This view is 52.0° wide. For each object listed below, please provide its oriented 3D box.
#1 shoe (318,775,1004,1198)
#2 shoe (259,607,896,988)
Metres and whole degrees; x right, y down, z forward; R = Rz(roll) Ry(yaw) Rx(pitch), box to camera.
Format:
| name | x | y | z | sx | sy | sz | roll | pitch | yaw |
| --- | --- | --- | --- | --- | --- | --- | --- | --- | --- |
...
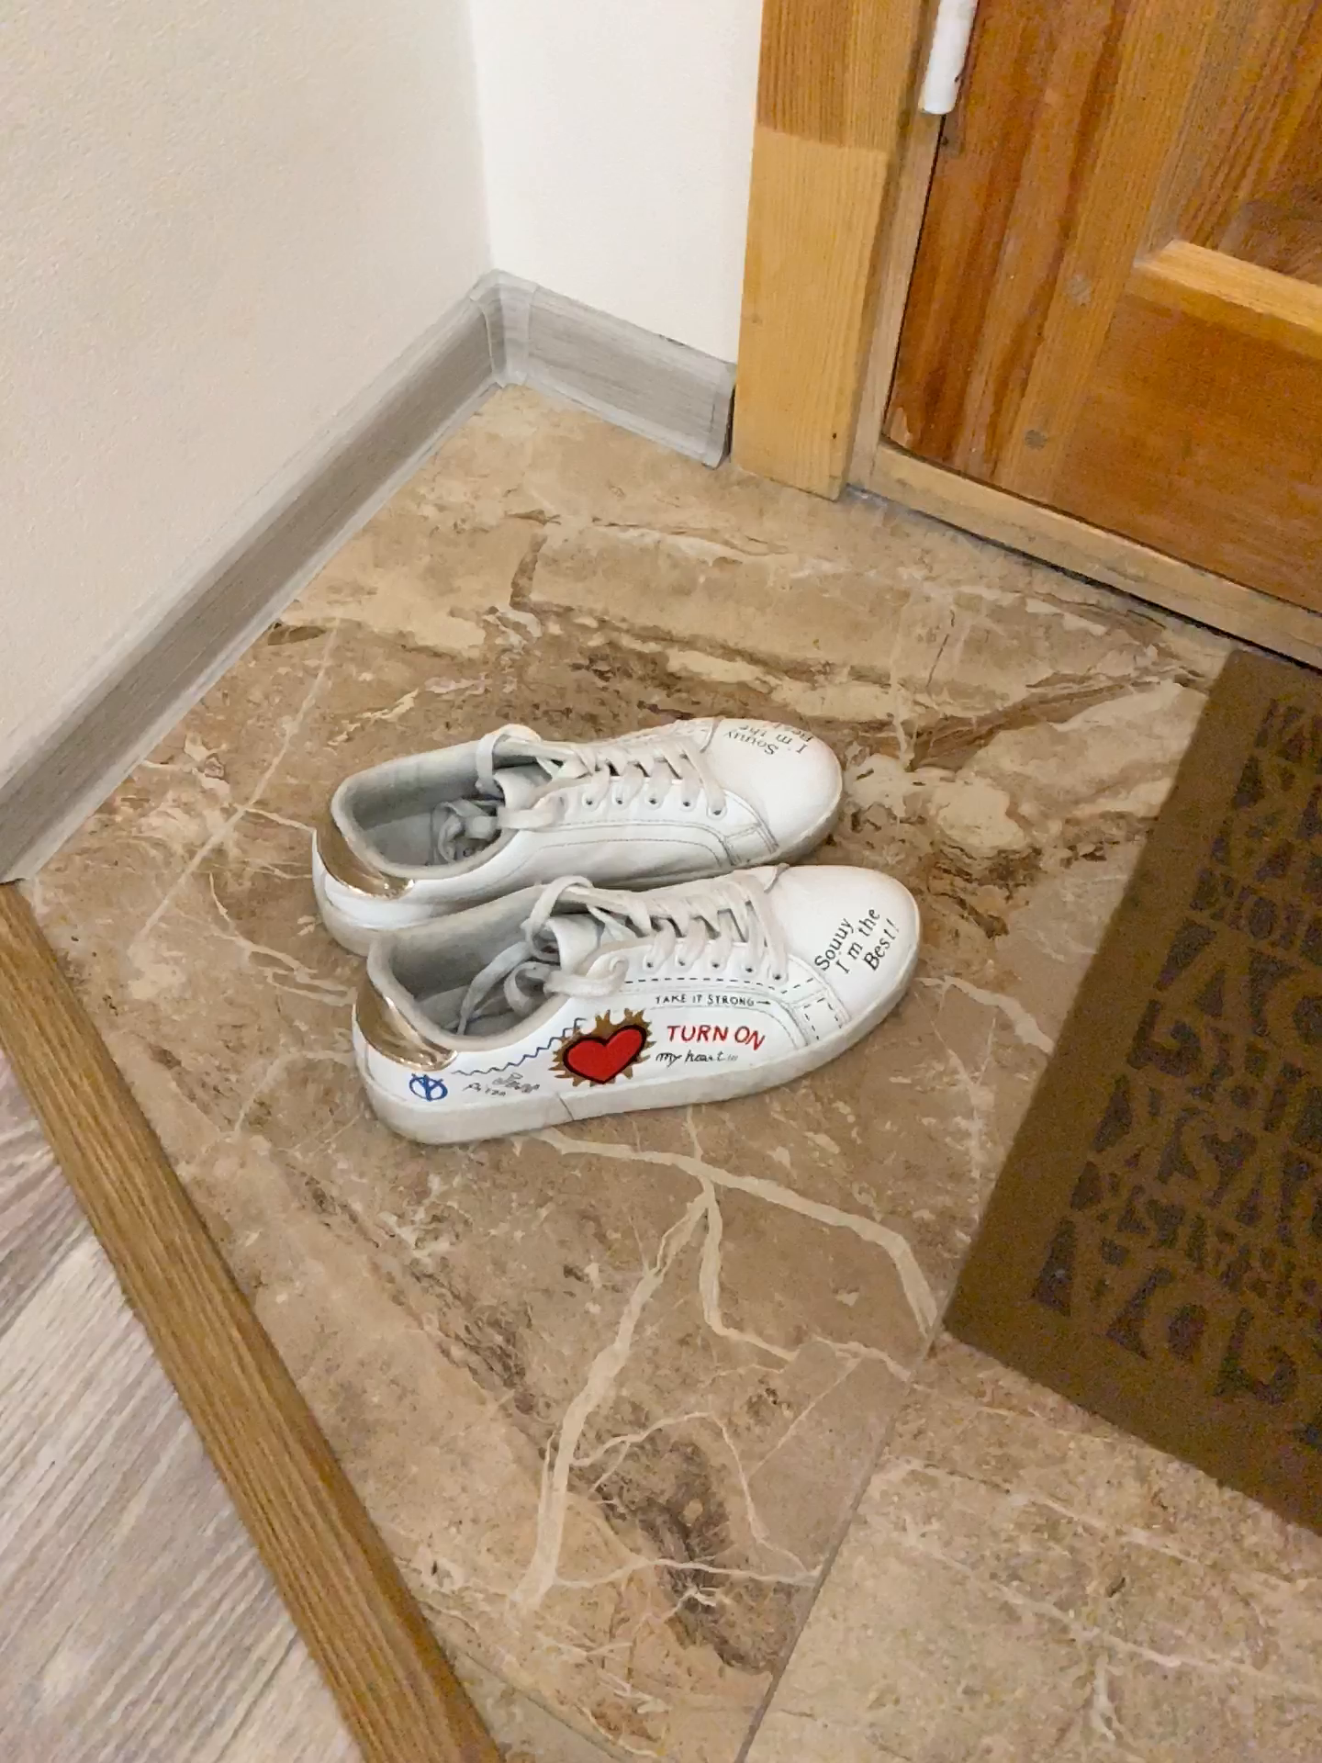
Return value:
| name | x | y | z | sx | sy | sz | roll | pitch | yaw |
| --- | --- | --- | --- | --- | --- | --- | --- | --- | --- |
| shoe | -0.001 | 0.042 | 0.571 | 0.256 | 0.080 | 0.093 | -13 | 59 | -9 |
| shoe | -0.037 | -0.039 | 0.610 | 0.256 | 0.080 | 0.093 | -12 | 59 | -9 |
